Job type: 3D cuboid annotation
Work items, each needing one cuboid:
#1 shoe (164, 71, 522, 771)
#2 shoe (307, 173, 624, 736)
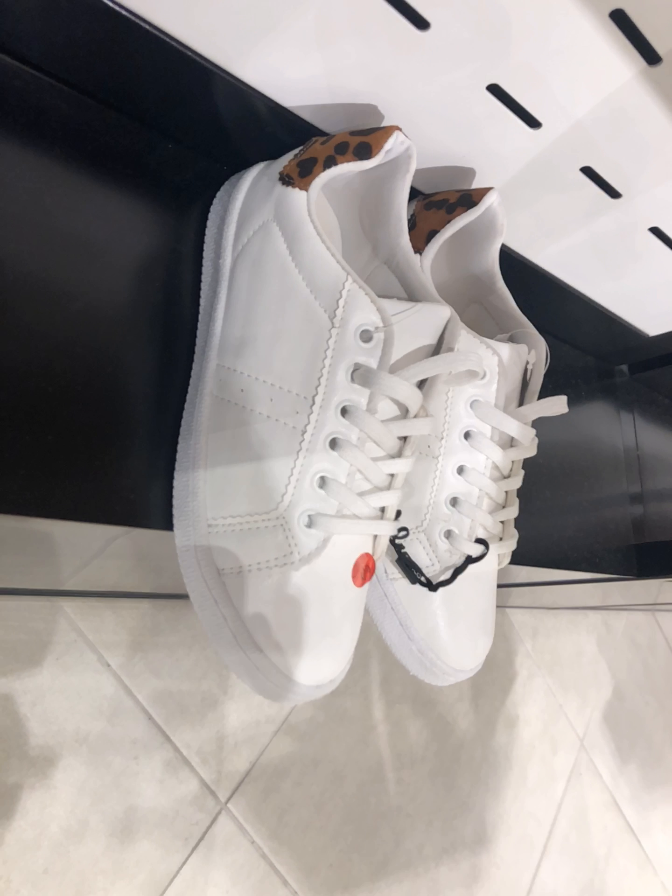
[{"bbox_3d":[0.002,-0.006,0.295,0.091,0.099,0.220,9,77,-44],"label":"shoe"},{"bbox_3d":[0.059,0.005,0.355,0.091,0.099,0.220,2,82,-45],"label":"shoe"}]
